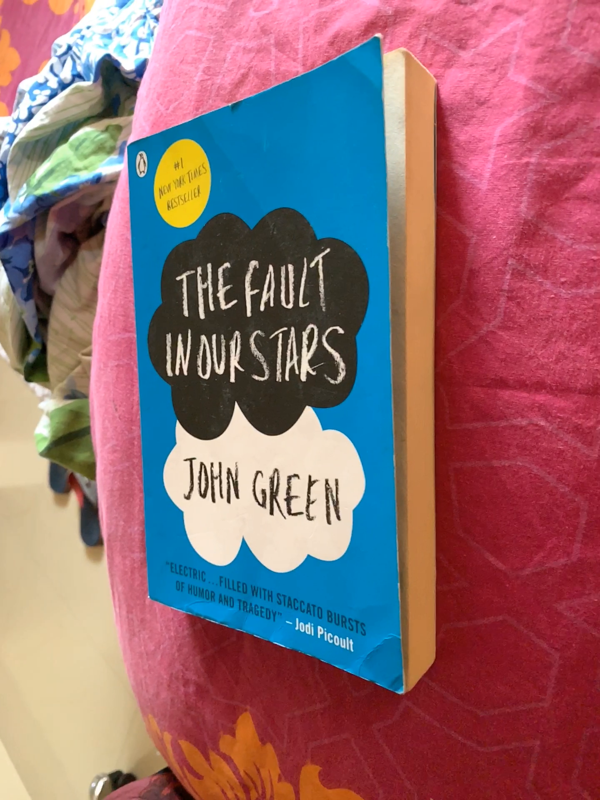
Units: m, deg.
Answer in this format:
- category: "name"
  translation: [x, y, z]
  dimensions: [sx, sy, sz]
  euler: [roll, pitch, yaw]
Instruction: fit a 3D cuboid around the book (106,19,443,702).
- category: "book"
  translation: [-0.017, -0.010, 0.217]
  dimensions: [0.130, 0.030, 0.179]
  euler: [0, 90, 40]
